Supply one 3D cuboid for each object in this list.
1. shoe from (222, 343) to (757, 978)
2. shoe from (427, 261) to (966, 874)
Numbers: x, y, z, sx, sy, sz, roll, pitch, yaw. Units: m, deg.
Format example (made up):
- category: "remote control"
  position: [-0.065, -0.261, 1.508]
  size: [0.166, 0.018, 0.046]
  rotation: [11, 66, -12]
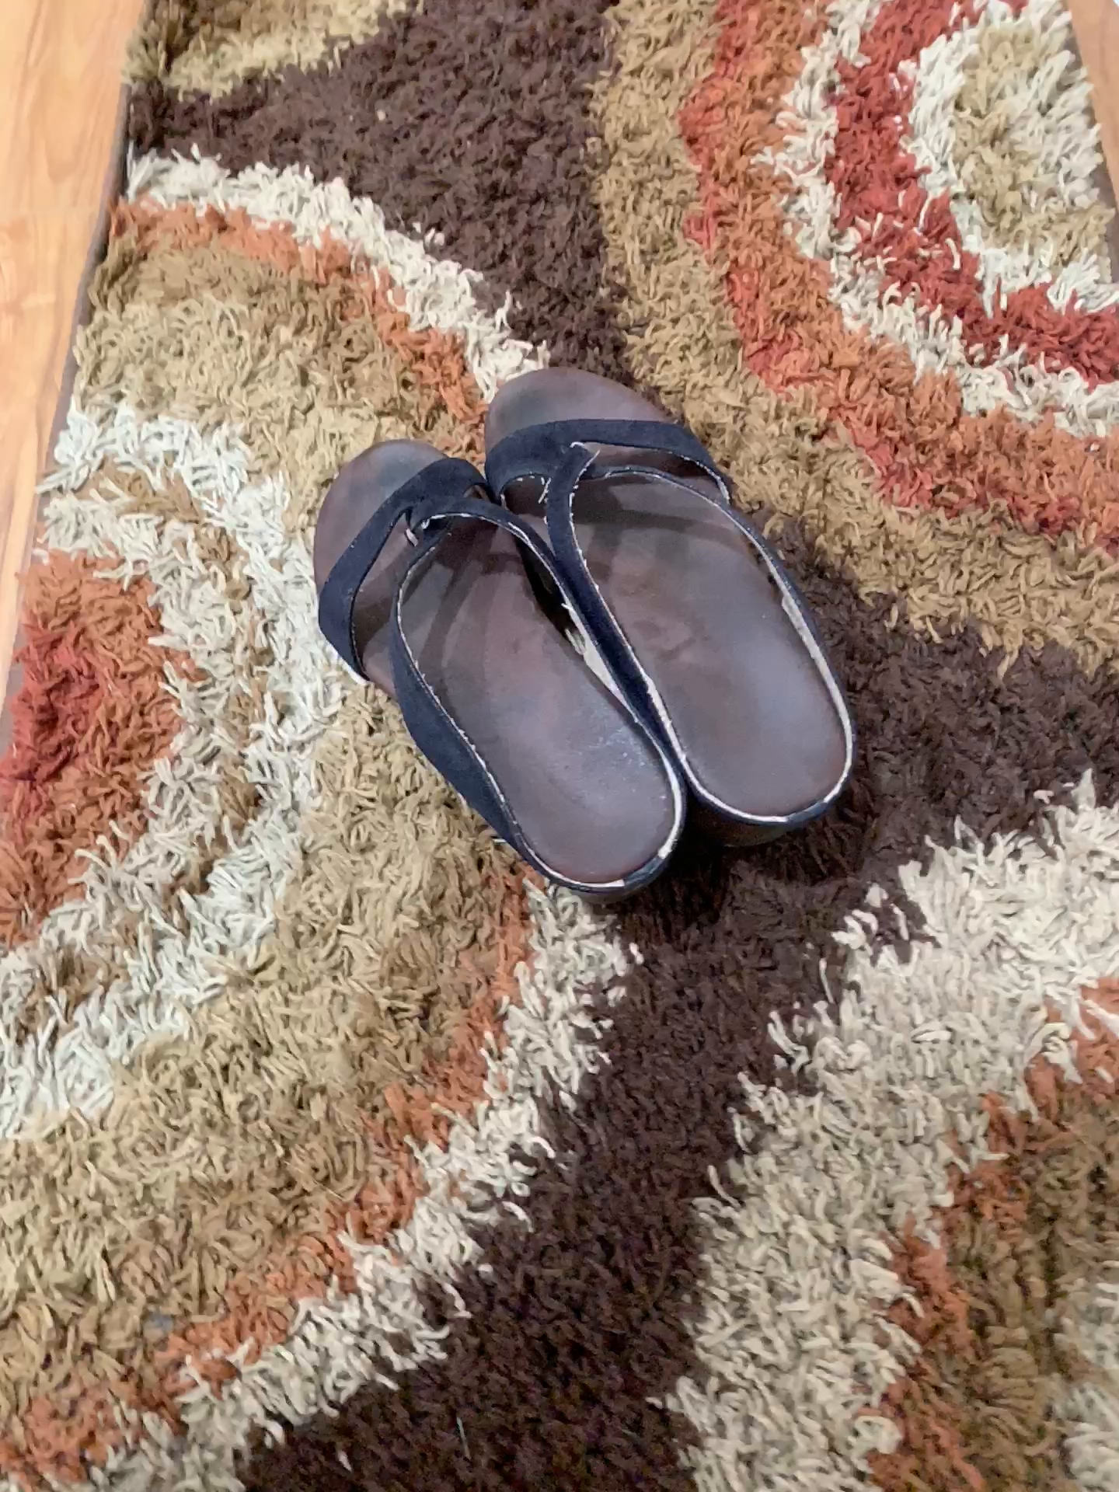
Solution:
- category: "shoe"
  position: [-0.030, -0.037, 0.433]
  size: [0.090, 0.062, 0.223]
  rotation: [-31, 69, -7]
- category: "shoe"
  position: [0.043, -0.073, 0.433]
  size: [0.084, 0.052, 0.224]
  rotation: [-30, 69, -6]
